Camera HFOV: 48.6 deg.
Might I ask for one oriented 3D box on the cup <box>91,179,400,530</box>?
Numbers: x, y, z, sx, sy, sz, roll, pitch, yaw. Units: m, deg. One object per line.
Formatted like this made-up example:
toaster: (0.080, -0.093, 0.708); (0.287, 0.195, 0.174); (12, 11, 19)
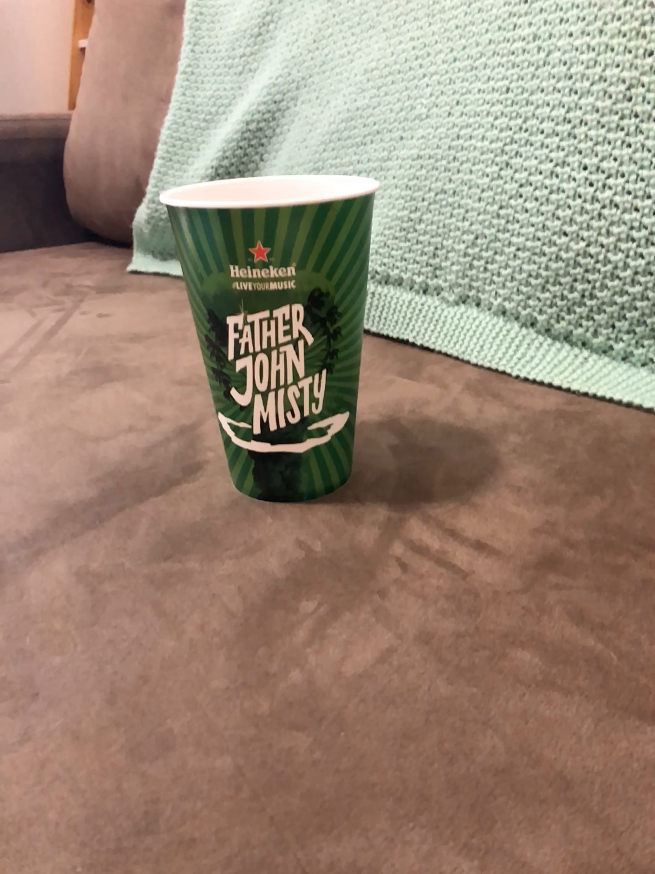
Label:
cup: (-0.026, -0.045, 0.332); (0.100, 0.129, 0.101); (-1, 24, 1)
